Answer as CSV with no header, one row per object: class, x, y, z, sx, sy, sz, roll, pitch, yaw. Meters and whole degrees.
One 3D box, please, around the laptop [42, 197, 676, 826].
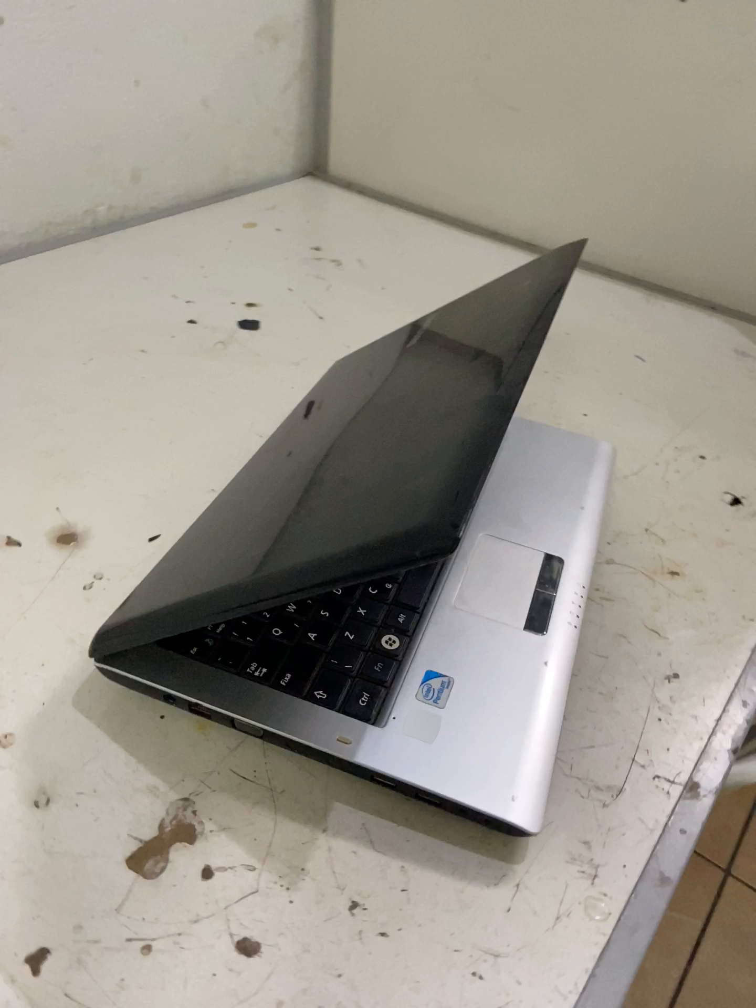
laptop,0.024,-0.039,0.466,0.240,0.152,0.335,16,39,13
